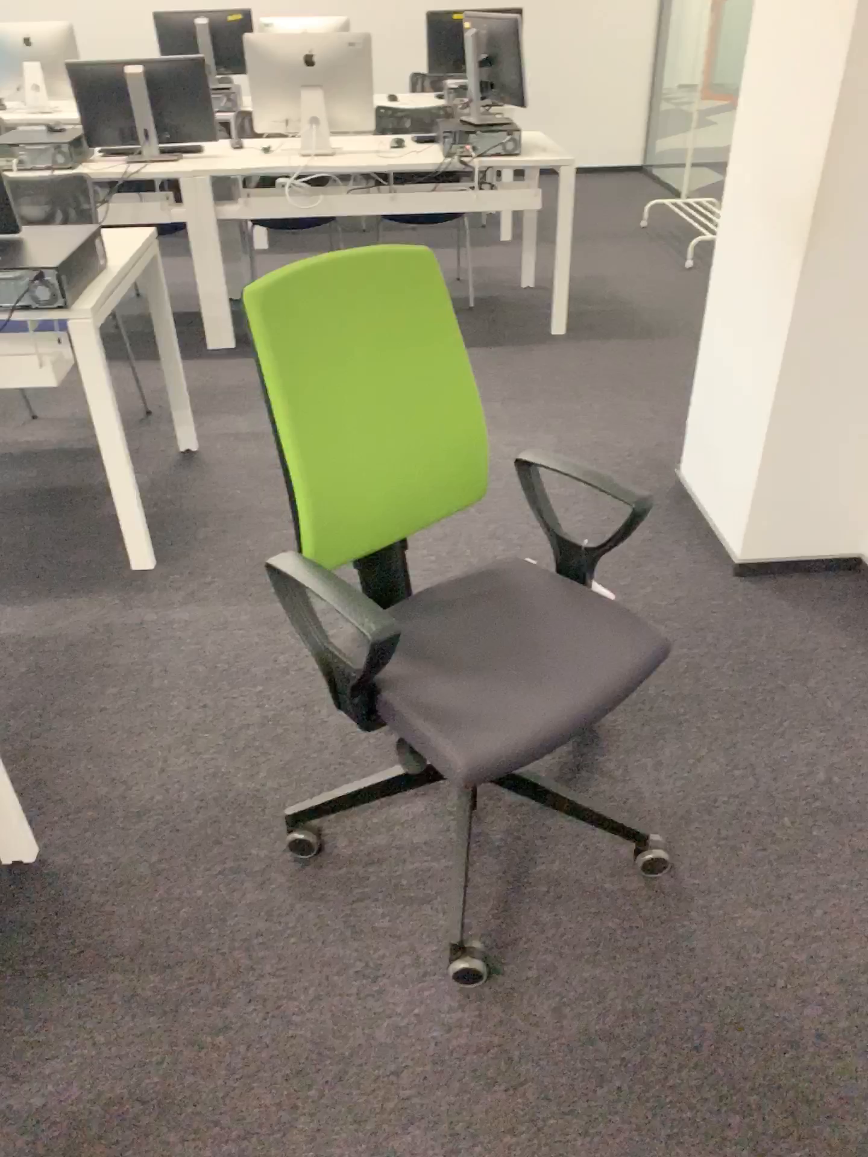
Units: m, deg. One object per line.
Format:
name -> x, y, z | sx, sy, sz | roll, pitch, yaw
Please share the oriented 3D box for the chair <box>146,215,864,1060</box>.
chair -> 0.101, 0.048, 1.504 | 0.722, 1.054, 0.672 | -27, 42, -33
